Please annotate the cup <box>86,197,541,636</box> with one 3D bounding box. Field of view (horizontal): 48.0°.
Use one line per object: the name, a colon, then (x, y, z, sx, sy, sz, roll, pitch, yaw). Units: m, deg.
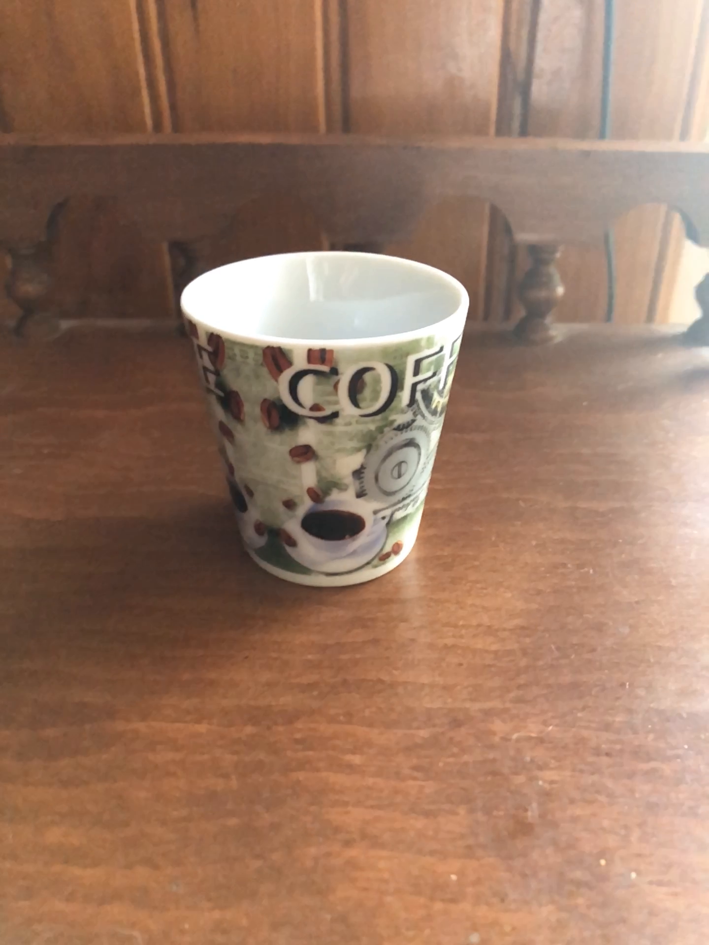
cup: (-0.003, -0.020, 0.180, 0.060, 0.060, 0.081, 16, 35, 26)
